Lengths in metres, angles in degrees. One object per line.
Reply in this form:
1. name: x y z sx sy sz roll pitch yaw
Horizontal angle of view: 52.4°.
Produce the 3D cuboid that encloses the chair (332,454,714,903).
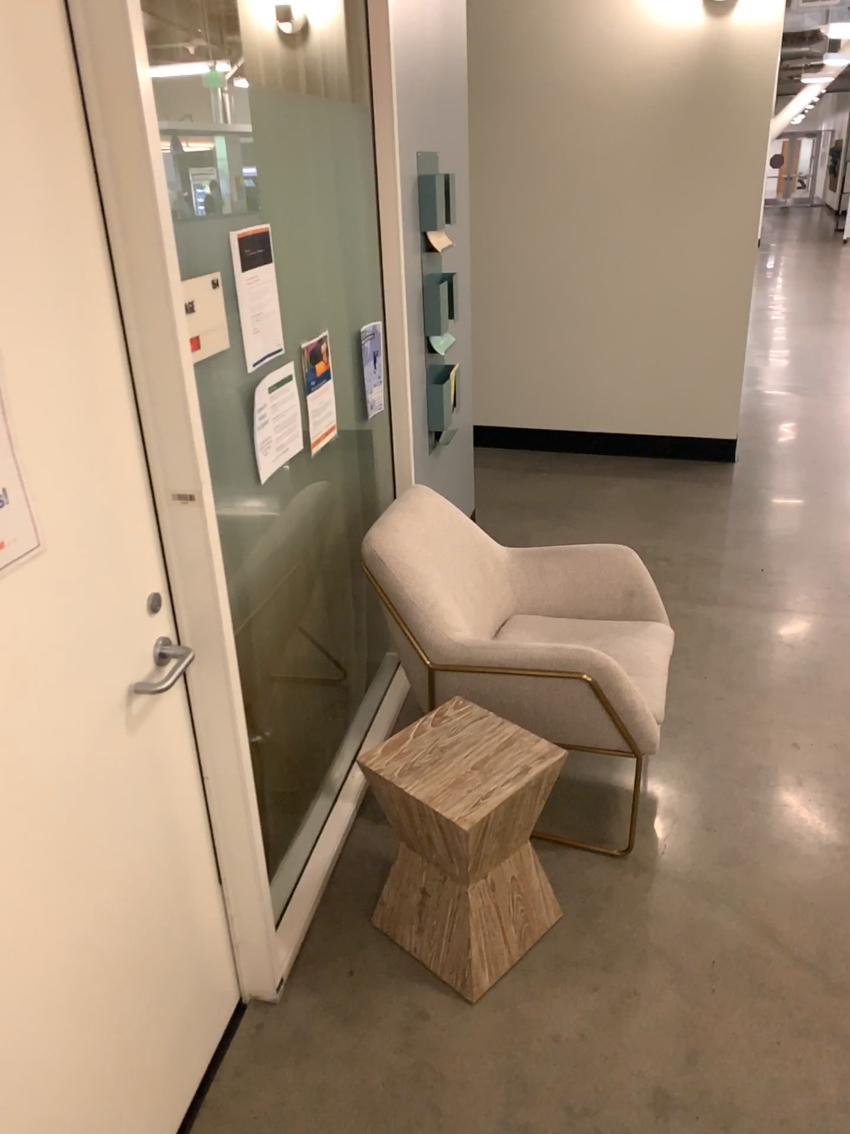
1. chair: 0.311 0.253 2.489 0.871 0.925 0.784 4 25 14
